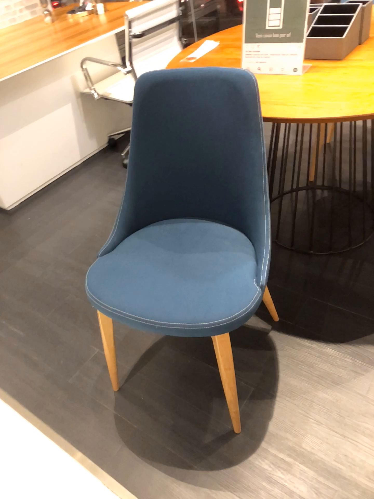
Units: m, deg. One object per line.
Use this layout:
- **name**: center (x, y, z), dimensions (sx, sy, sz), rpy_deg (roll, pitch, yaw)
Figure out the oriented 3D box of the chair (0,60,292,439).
- **chair**: center (-0.026, 0.001, 1.182), dimensions (0.521, 0.853, 0.543), rpy_deg (10, 43, 24)
